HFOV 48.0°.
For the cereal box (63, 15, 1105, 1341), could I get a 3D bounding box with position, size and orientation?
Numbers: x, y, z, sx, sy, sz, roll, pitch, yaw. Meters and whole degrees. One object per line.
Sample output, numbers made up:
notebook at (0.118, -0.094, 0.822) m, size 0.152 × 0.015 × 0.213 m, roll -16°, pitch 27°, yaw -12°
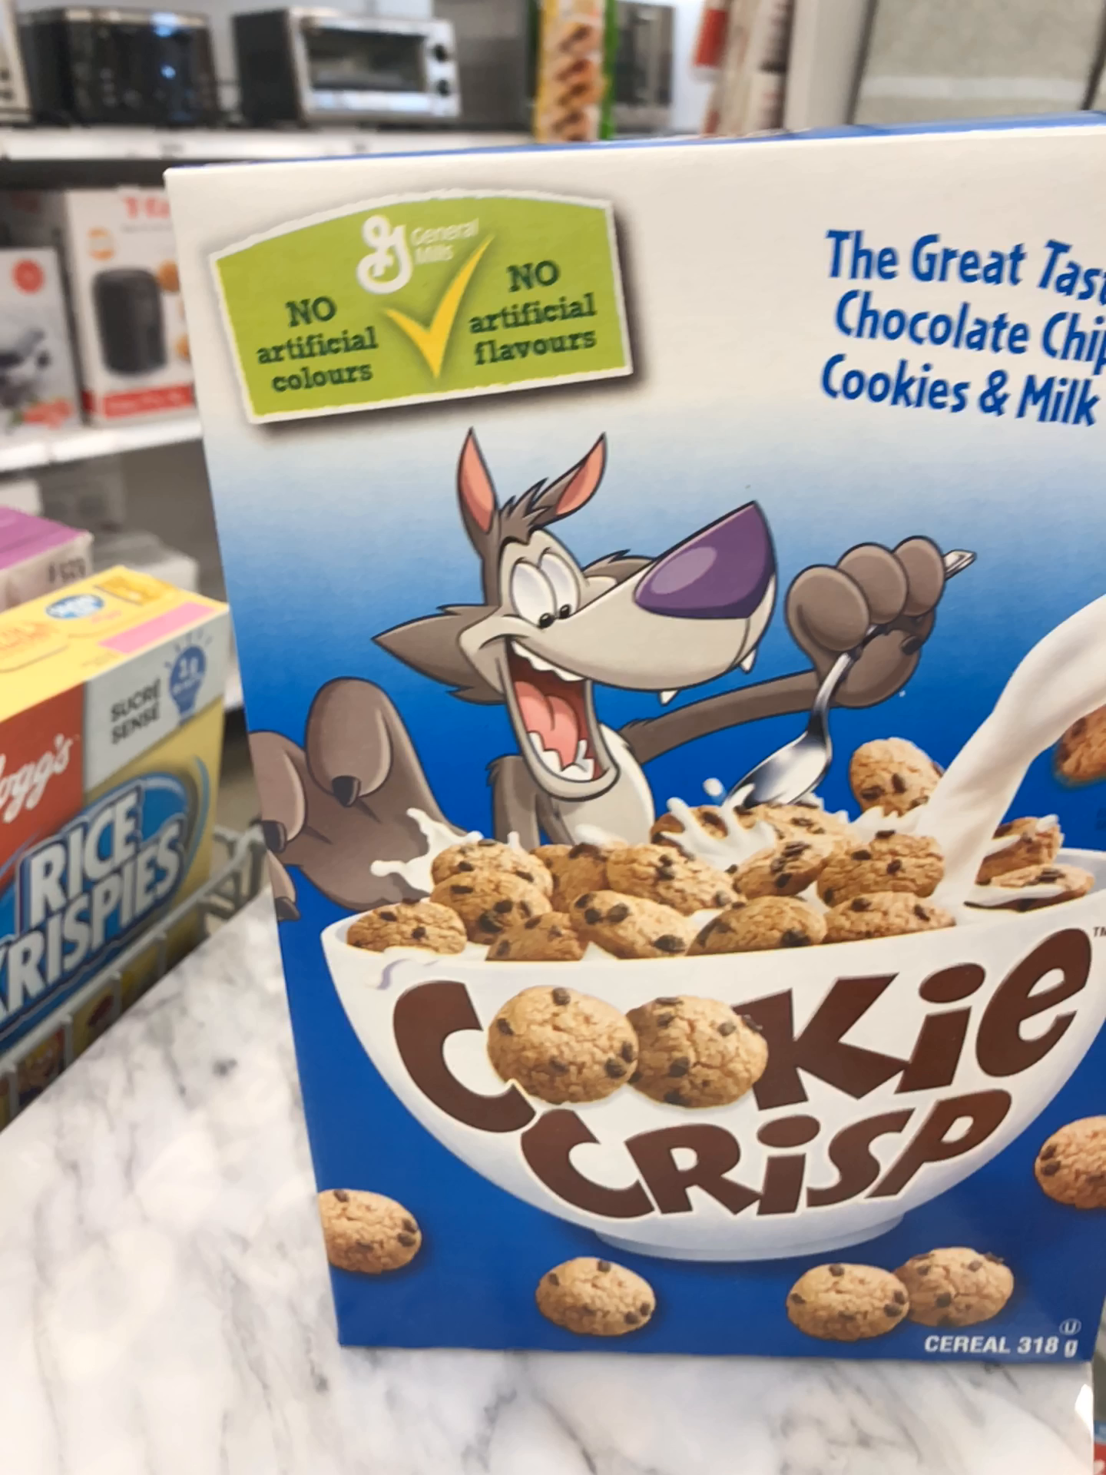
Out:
cereal box at (0.034, 0.009, 0.265) m, size 0.210 × 0.269 × 0.050 m, roll -1°, pitch 23°, yaw 3°
